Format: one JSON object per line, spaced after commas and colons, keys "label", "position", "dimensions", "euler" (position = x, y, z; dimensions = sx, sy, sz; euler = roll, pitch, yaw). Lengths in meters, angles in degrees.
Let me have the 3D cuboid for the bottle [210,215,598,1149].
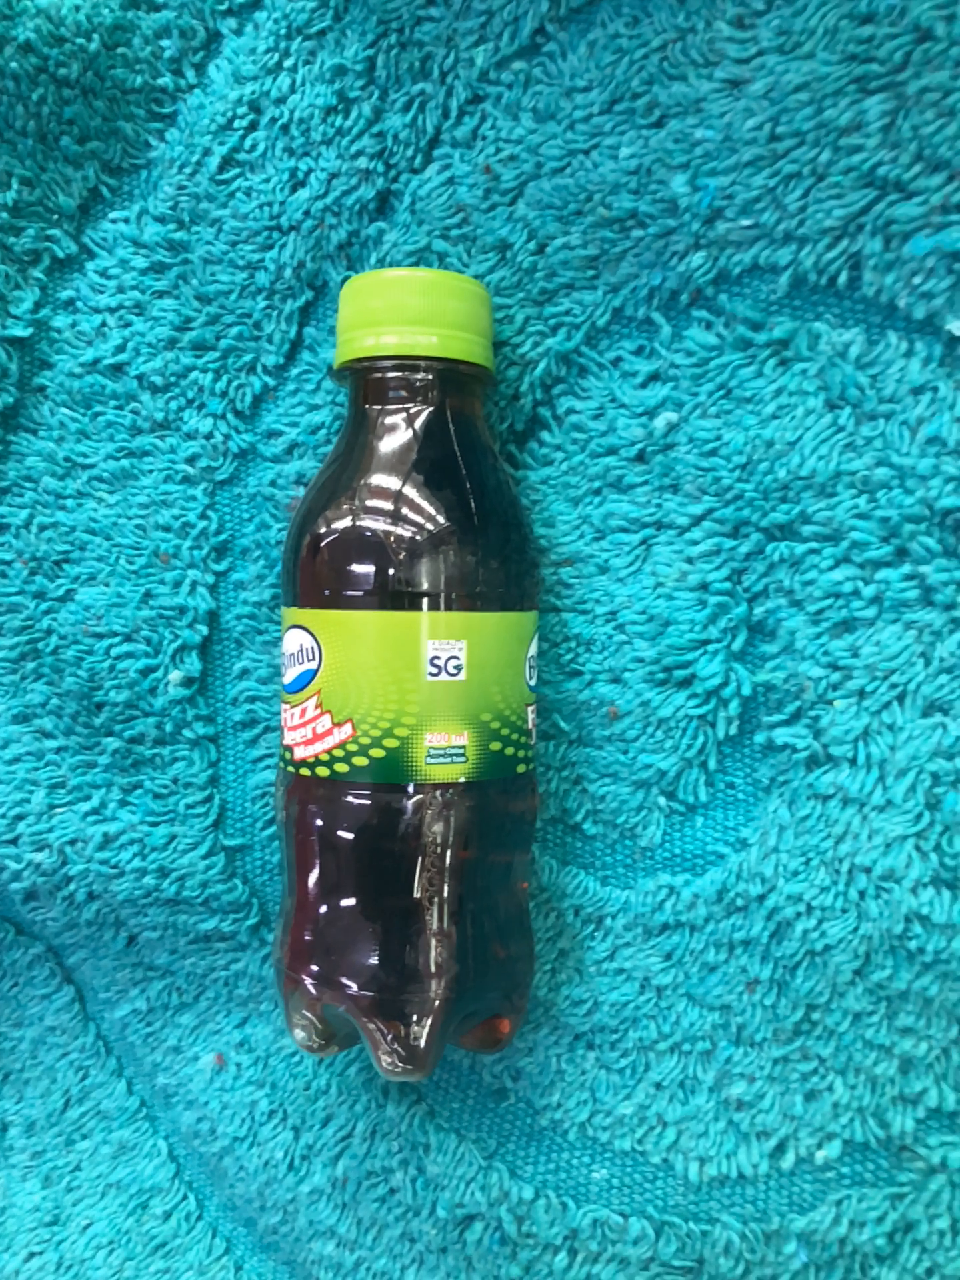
{"label": "bottle", "position": [-0.012, 0.006, 0.206], "dimensions": [0.050, 0.050, 0.150], "euler": [4, 97, 38]}
